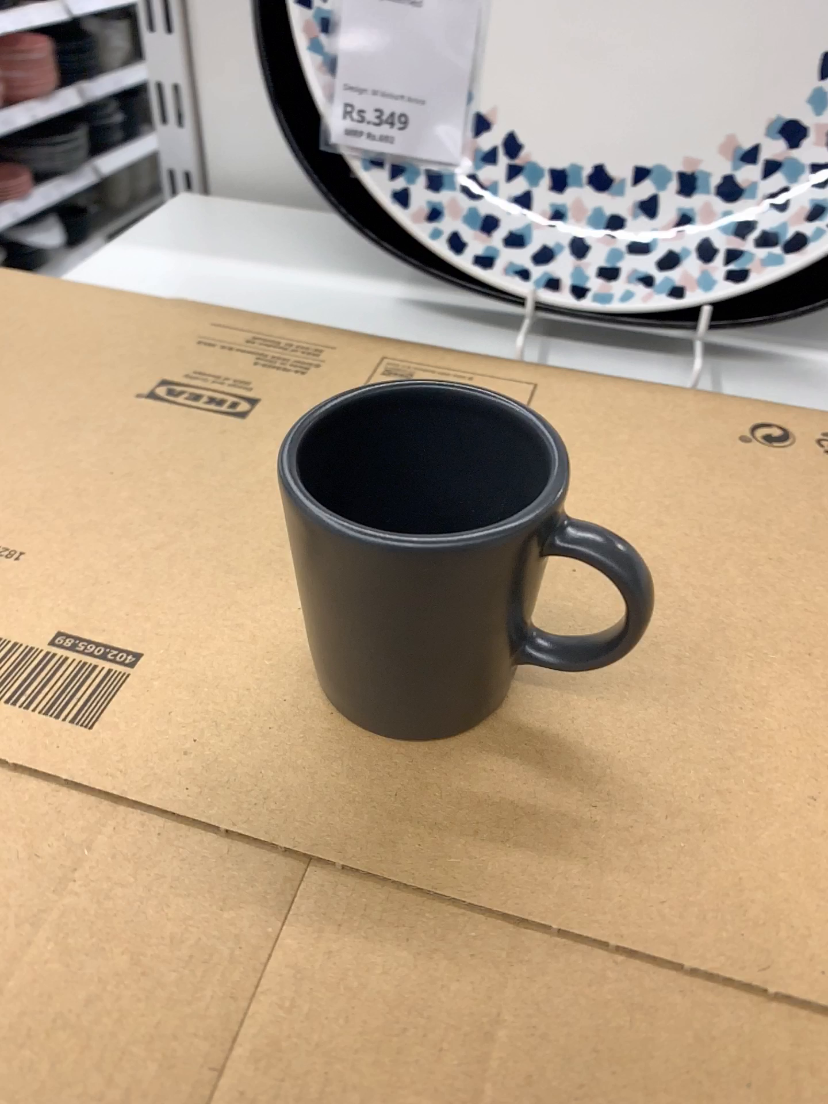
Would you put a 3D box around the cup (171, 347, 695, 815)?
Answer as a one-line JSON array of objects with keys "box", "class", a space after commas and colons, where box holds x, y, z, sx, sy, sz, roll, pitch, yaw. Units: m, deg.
[{"box": [0.007, 0.003, 0.186, 0.090, 0.060, 0.060, 11, 40, 10], "class": "cup"}]
